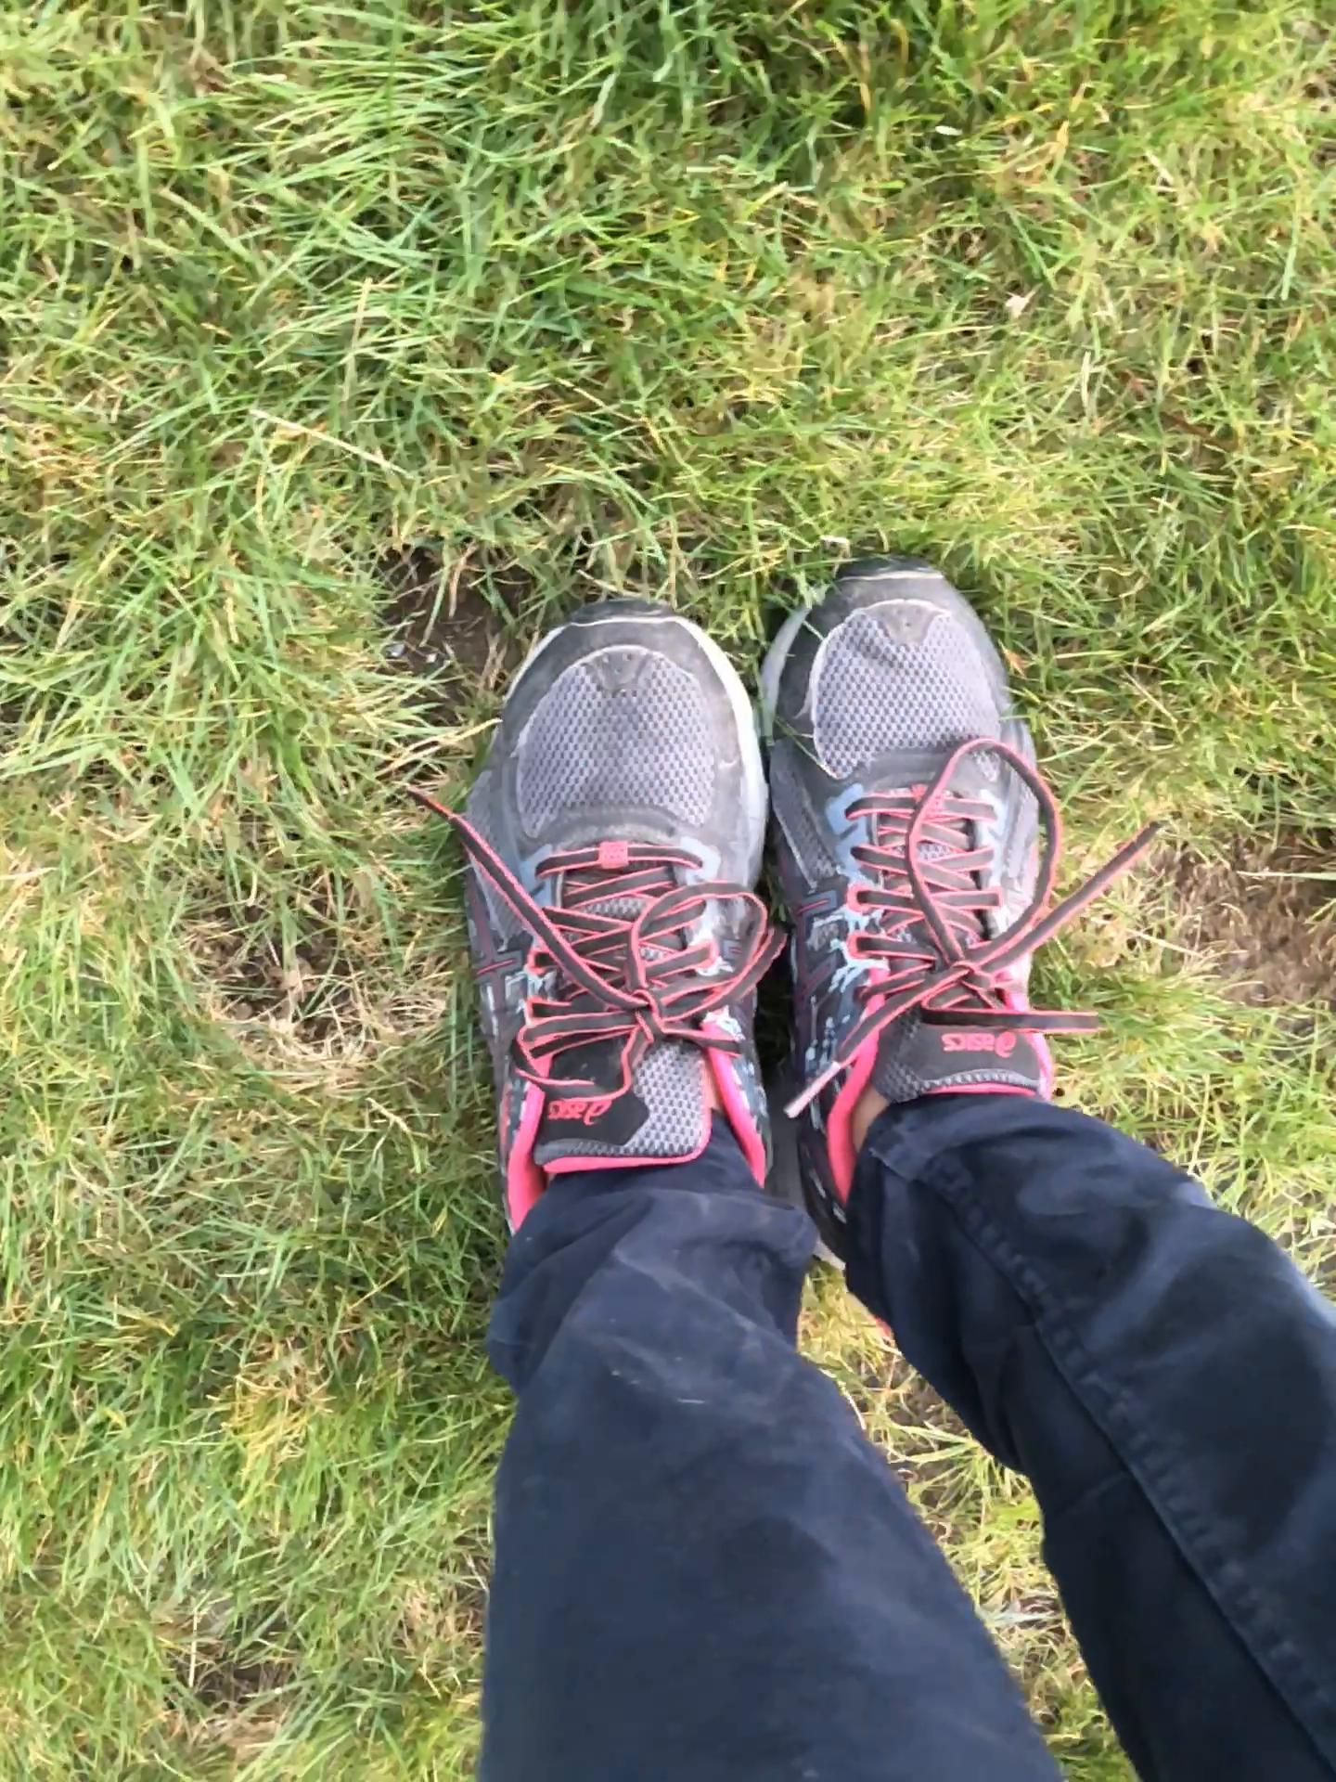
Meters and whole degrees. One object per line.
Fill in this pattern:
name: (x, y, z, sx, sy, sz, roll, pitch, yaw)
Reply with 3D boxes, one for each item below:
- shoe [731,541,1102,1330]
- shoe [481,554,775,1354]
shoe: (0.080, 0.010, 0.524, 0.090, 0.120, 0.250, -1, 98, -9)
shoe: (-0.017, 0.016, 0.509, 0.088, 0.120, 0.245, -1, 96, -6)
